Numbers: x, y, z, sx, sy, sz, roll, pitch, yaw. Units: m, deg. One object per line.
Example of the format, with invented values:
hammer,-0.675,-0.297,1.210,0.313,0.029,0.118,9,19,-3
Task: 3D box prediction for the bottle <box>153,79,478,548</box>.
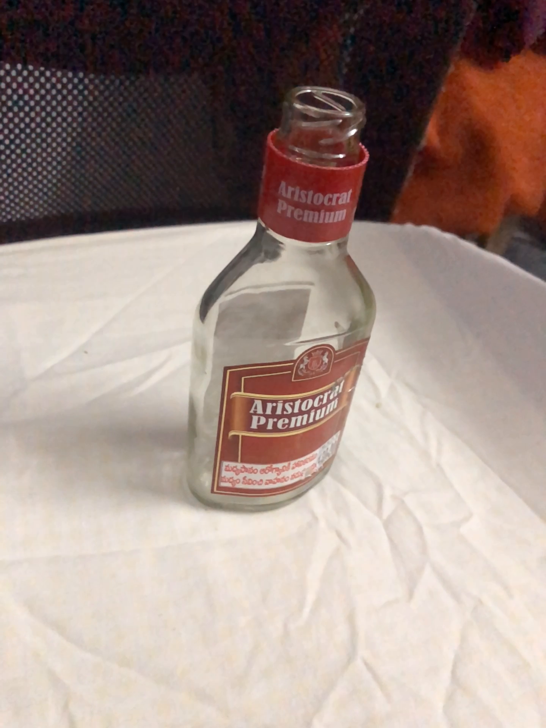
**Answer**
bottle,0.002,-0.008,0.234,0.080,0.179,0.040,-11,46,-25
